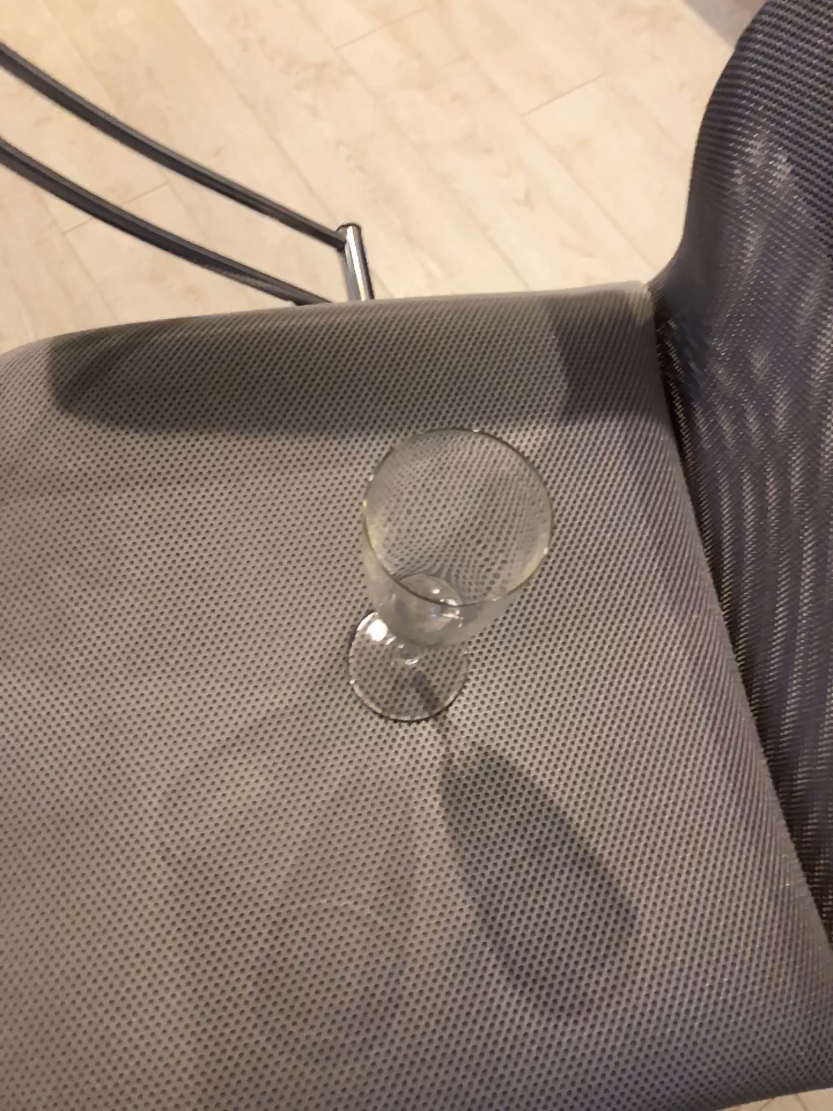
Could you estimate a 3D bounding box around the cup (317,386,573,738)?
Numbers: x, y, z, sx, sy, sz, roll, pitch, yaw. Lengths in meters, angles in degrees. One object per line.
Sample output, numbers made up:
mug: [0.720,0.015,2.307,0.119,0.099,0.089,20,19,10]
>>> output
cup: [0.003,0.021,0.386,0.074,0.229,0.075,1,70,-2]
